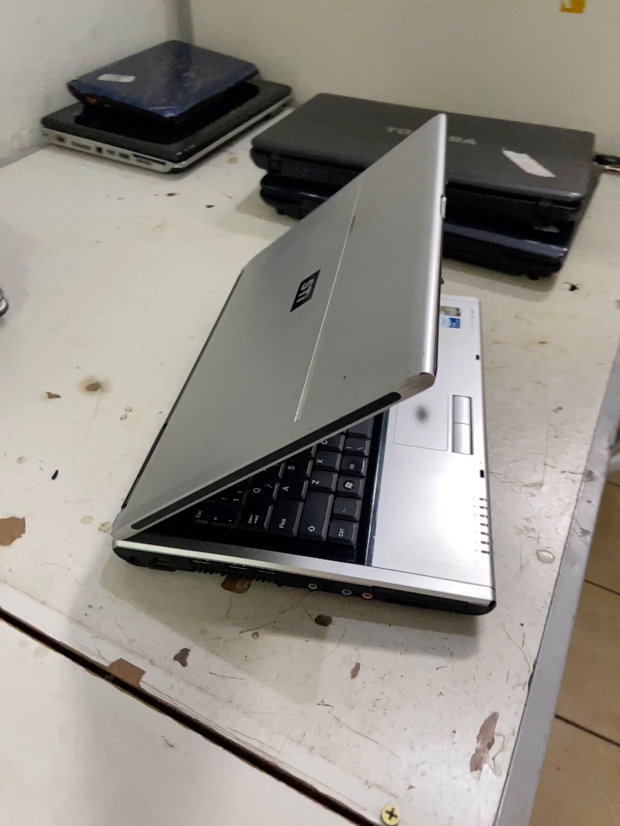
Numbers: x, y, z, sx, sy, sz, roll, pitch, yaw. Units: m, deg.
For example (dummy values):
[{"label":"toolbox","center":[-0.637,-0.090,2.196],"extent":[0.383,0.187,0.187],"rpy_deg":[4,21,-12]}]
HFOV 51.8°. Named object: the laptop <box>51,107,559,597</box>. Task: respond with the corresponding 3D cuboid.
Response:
[{"label":"laptop","center":[0.021,-0.075,0.458],"extent":[0.227,0.164,0.332],"rpy_deg":[7,42,7]}]
